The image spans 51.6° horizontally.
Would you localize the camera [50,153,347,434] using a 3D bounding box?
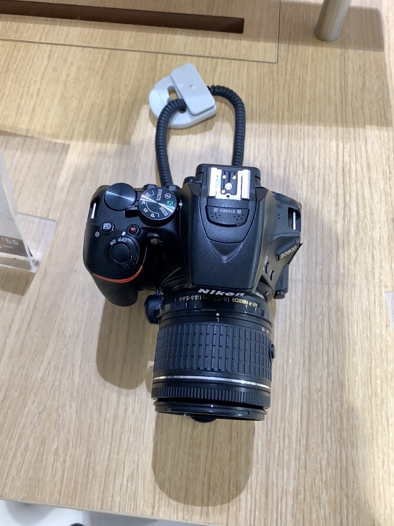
[{"bbox_3d":[0.003,0.020,0.211,0.110,0.080,0.120,3,67,0],"label":"camera"}]
